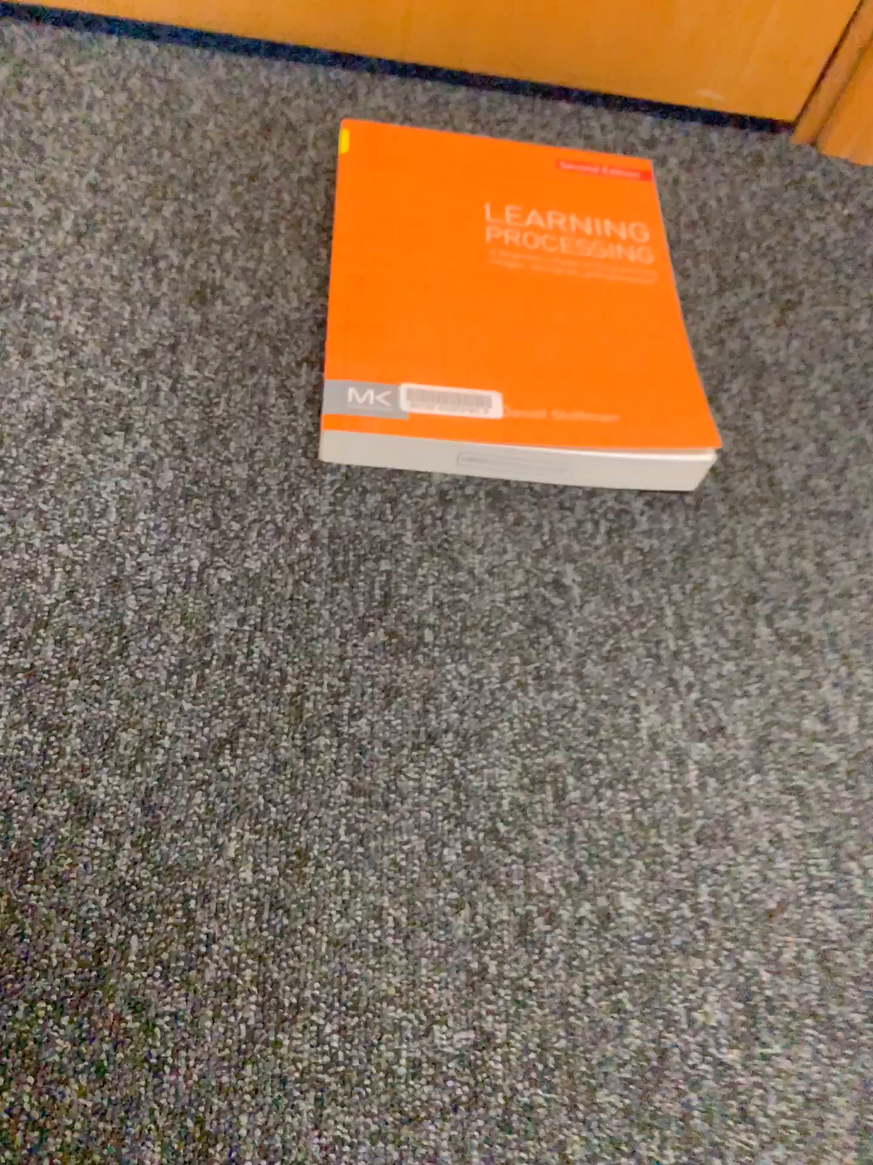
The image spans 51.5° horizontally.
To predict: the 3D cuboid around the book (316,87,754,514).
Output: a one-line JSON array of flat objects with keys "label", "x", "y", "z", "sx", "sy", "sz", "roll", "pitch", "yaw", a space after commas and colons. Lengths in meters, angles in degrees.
[{"label": "book", "x": 0.046, "y": -0.166, "z": 0.508, "sx": 0.210, "sy": 0.040, "sz": 0.262, "roll": 4, "pitch": 60, "yaw": -9}]
